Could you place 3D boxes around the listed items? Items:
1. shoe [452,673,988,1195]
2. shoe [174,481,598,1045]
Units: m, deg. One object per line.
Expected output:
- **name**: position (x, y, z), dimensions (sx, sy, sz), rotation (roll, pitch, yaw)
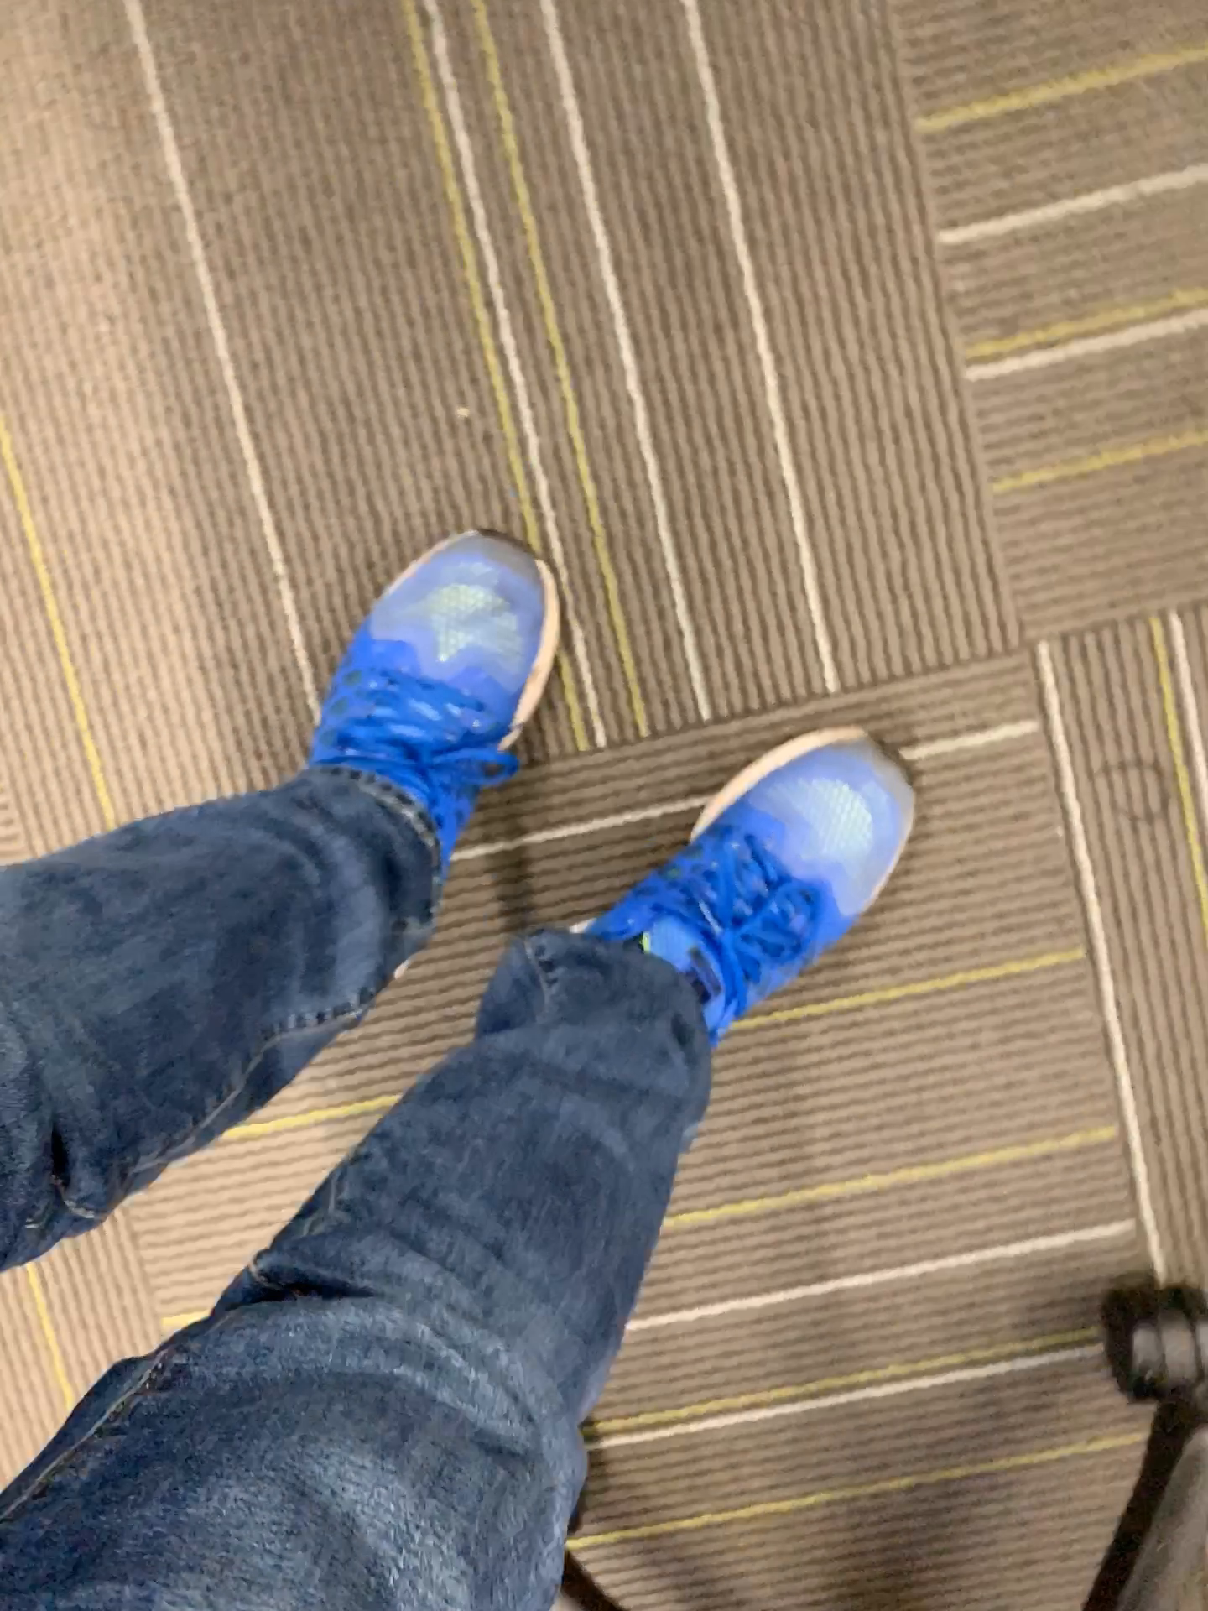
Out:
- **shoe**: position (0.064, 0.073, 0.751), dimensions (0.128, 0.077, 0.300), rotation (45, 97, -3)
- **shoe**: position (-0.128, -0.024, 0.752), dimensions (0.125, 0.077, 0.298), rotation (27, 98, -1)
